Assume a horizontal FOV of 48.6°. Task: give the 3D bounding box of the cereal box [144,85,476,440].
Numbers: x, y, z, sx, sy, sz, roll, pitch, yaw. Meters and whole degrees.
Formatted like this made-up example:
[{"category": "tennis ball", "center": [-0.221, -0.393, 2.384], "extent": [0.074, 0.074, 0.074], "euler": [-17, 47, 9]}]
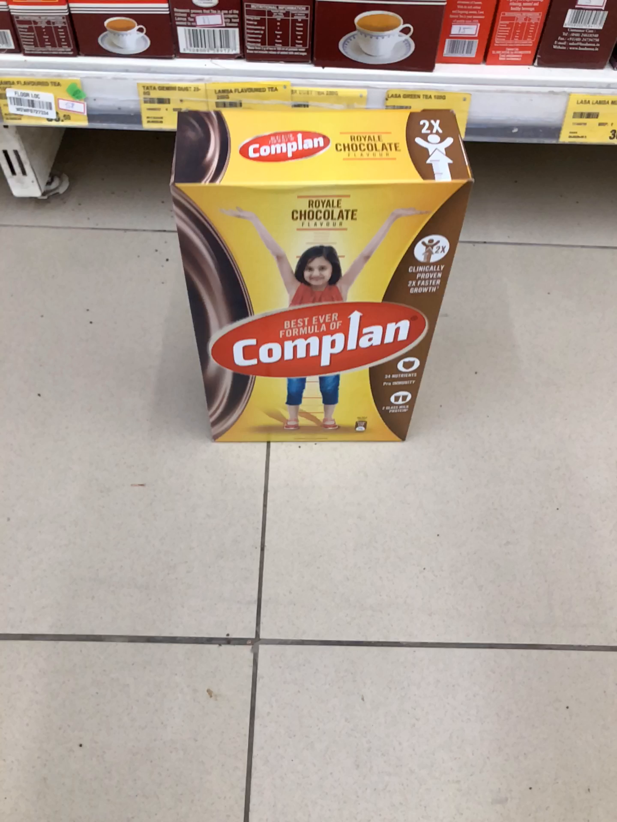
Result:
[{"category": "cereal box", "center": [-0.003, -0.076, 0.453], "extent": [0.160, 0.248, 0.070], "euler": [0, 56, -2]}]
